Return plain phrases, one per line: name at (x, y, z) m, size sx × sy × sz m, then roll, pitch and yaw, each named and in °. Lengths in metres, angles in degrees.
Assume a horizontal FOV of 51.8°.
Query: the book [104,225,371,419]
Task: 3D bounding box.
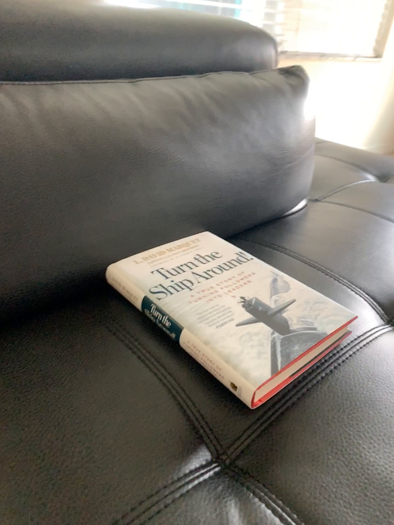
book at (0.030, 0.034, 0.413) m, size 0.153 × 0.029 × 0.227 m, roll -22°, pitch 39°, yaw -35°
